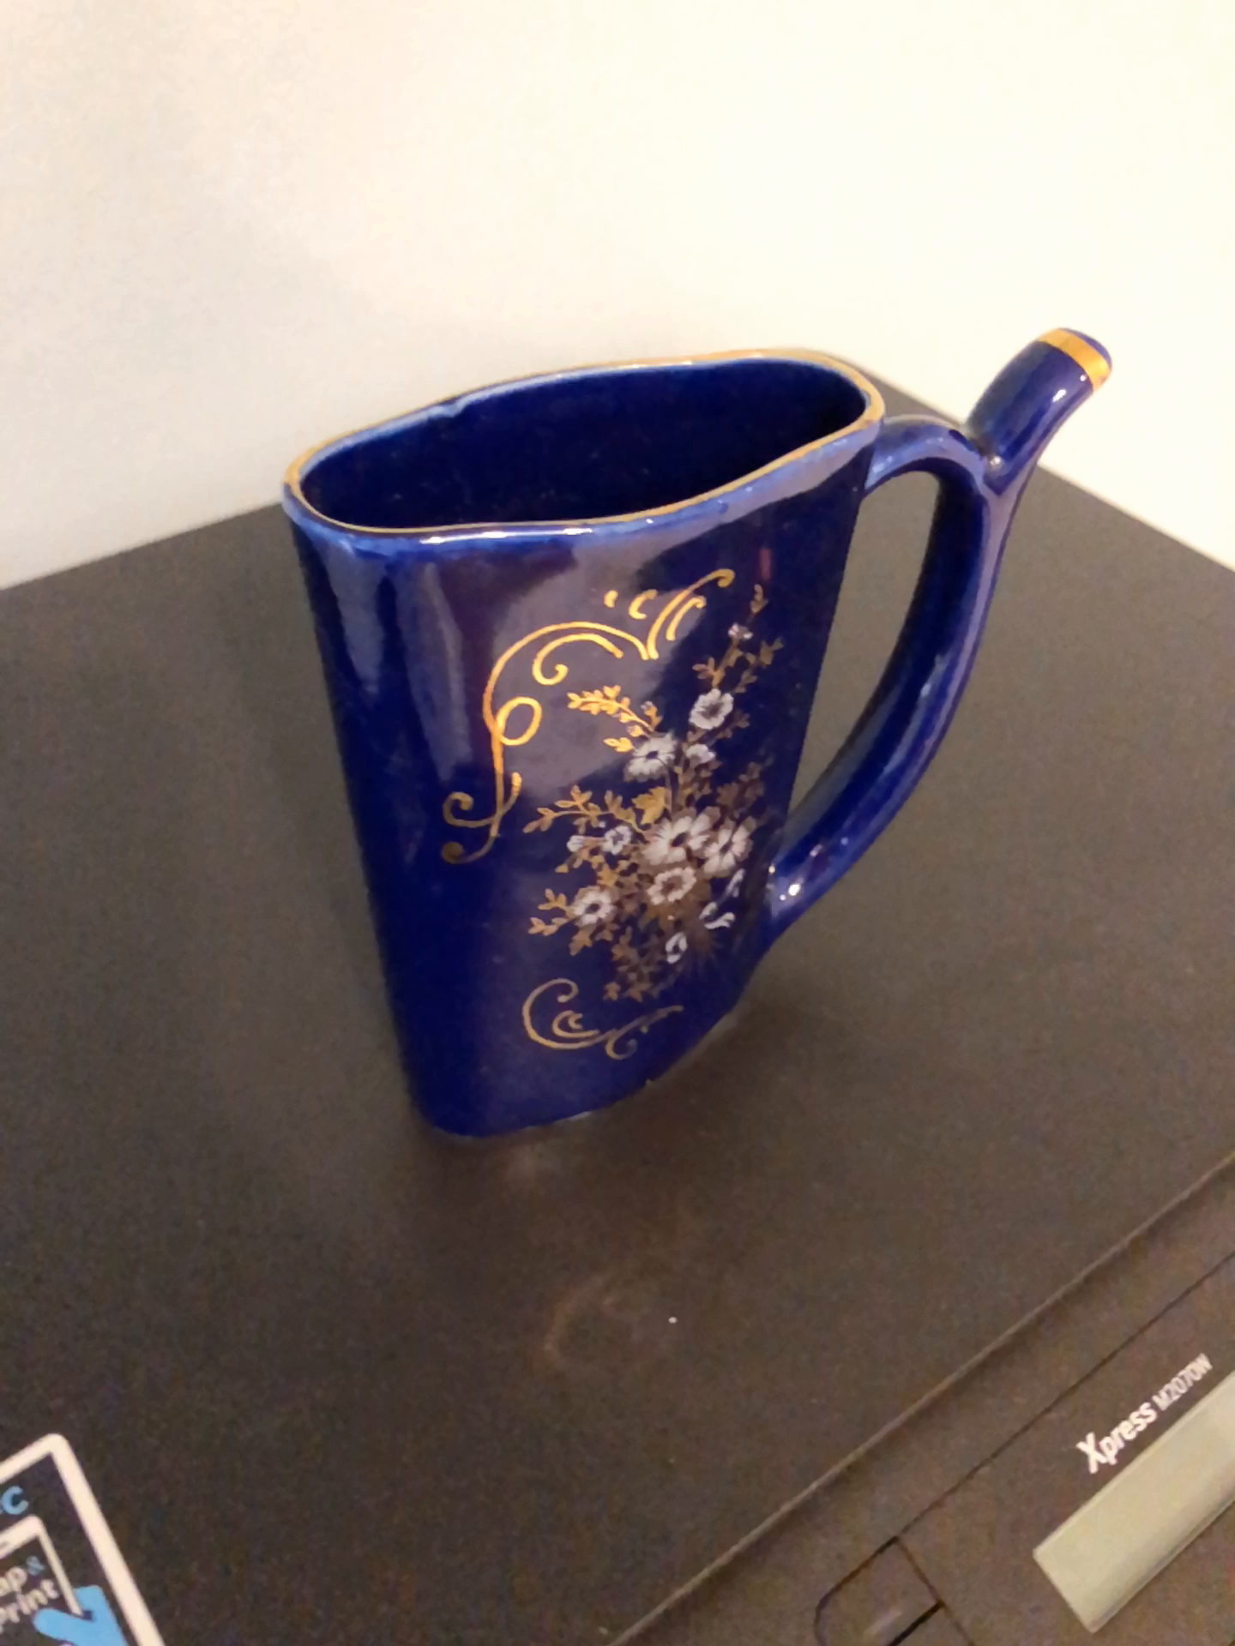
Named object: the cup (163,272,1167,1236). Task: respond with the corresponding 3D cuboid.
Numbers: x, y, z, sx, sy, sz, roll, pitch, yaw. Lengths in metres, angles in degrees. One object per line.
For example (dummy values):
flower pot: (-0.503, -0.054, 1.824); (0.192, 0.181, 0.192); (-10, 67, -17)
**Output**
cup: (0.010, -0.013, 0.223); (0.130, 0.109, 0.050); (-23, 48, -25)
